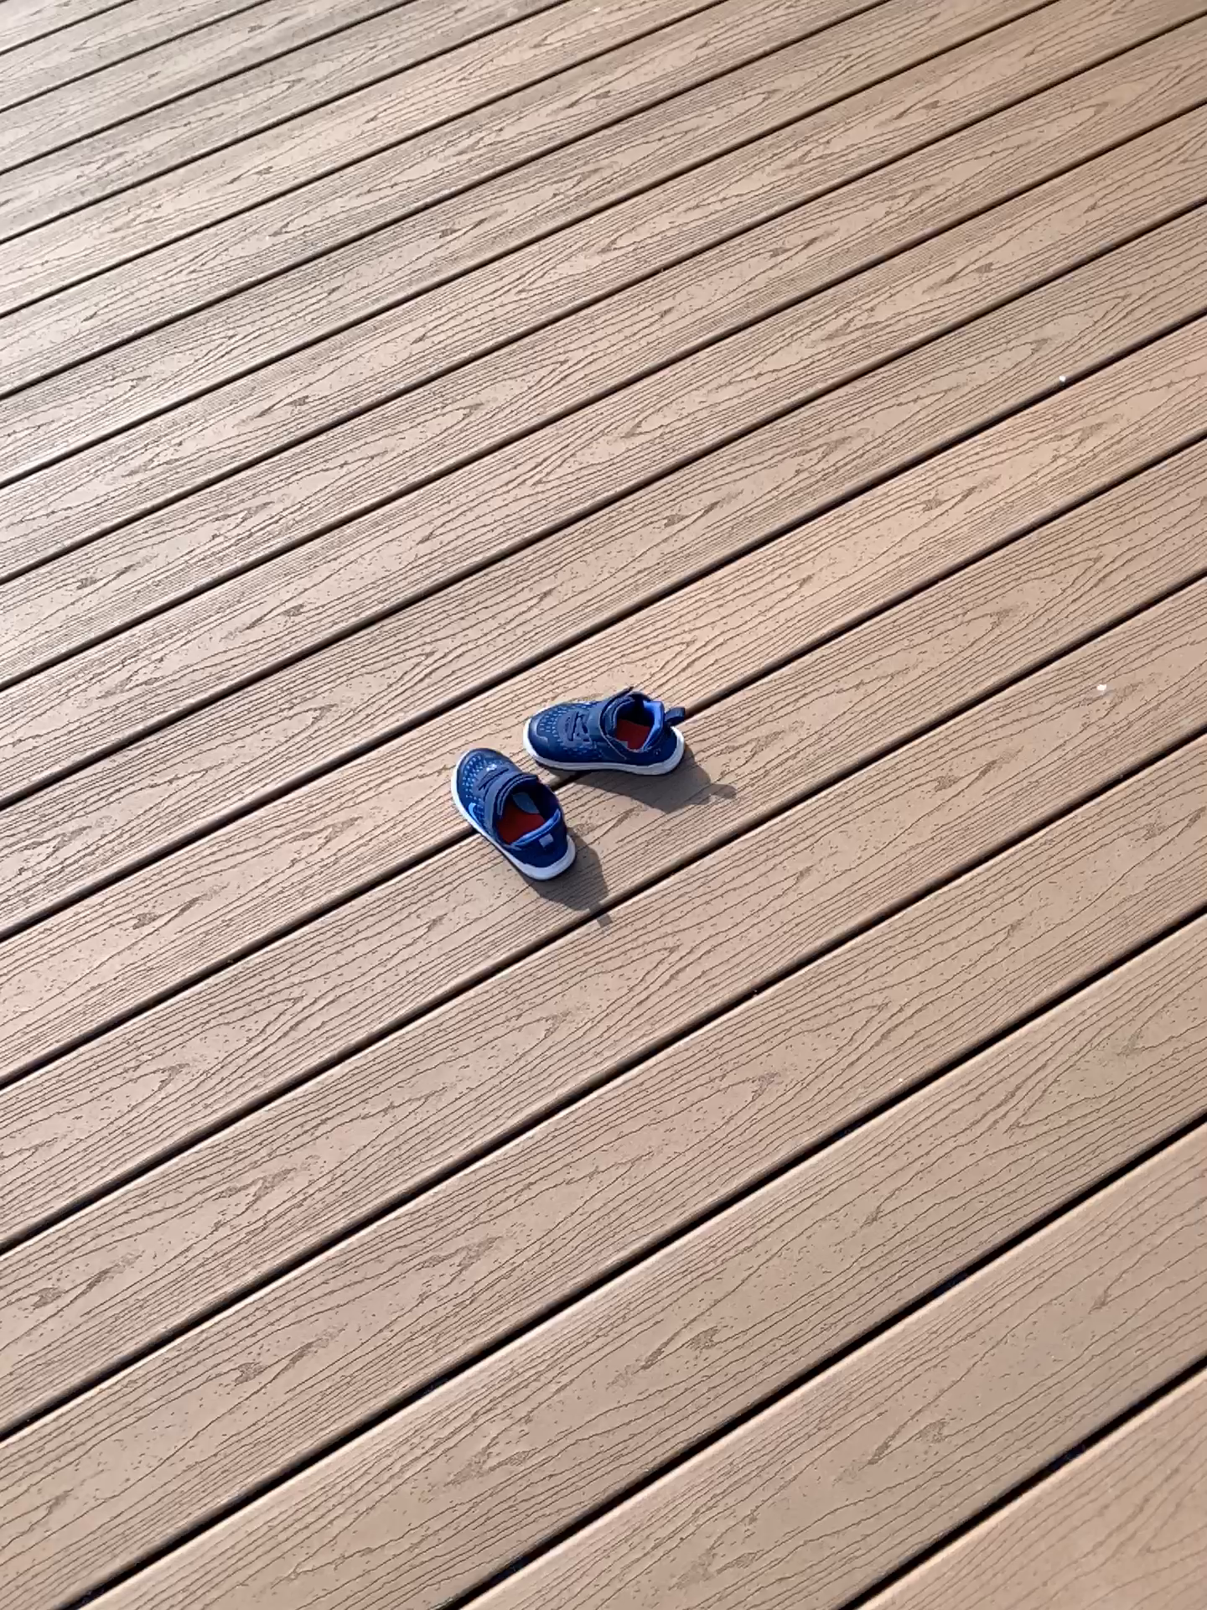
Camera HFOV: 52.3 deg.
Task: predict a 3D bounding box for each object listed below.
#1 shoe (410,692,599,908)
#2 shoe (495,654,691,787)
[{"bbox_3d":[-0.092,-0.005,1.154,0.080,0.090,0.170,-36,64,-12],"label":"shoe"},{"bbox_3d":[-0.006,-0.081,1.191,0.170,0.090,0.080,5,64,10],"label":"shoe"}]
